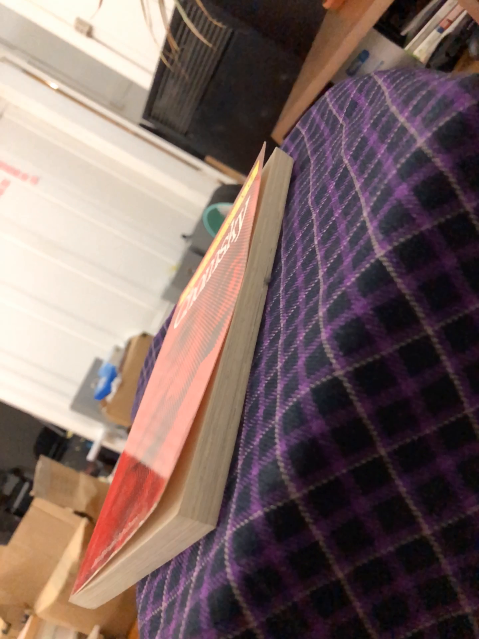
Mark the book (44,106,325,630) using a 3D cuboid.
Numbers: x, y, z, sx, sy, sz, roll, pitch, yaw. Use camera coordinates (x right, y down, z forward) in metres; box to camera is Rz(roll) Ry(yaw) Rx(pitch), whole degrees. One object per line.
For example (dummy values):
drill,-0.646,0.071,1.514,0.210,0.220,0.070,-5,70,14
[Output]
book,-0.024,0.017,0.286,0.180,0.020,0.241,-50,17,44
